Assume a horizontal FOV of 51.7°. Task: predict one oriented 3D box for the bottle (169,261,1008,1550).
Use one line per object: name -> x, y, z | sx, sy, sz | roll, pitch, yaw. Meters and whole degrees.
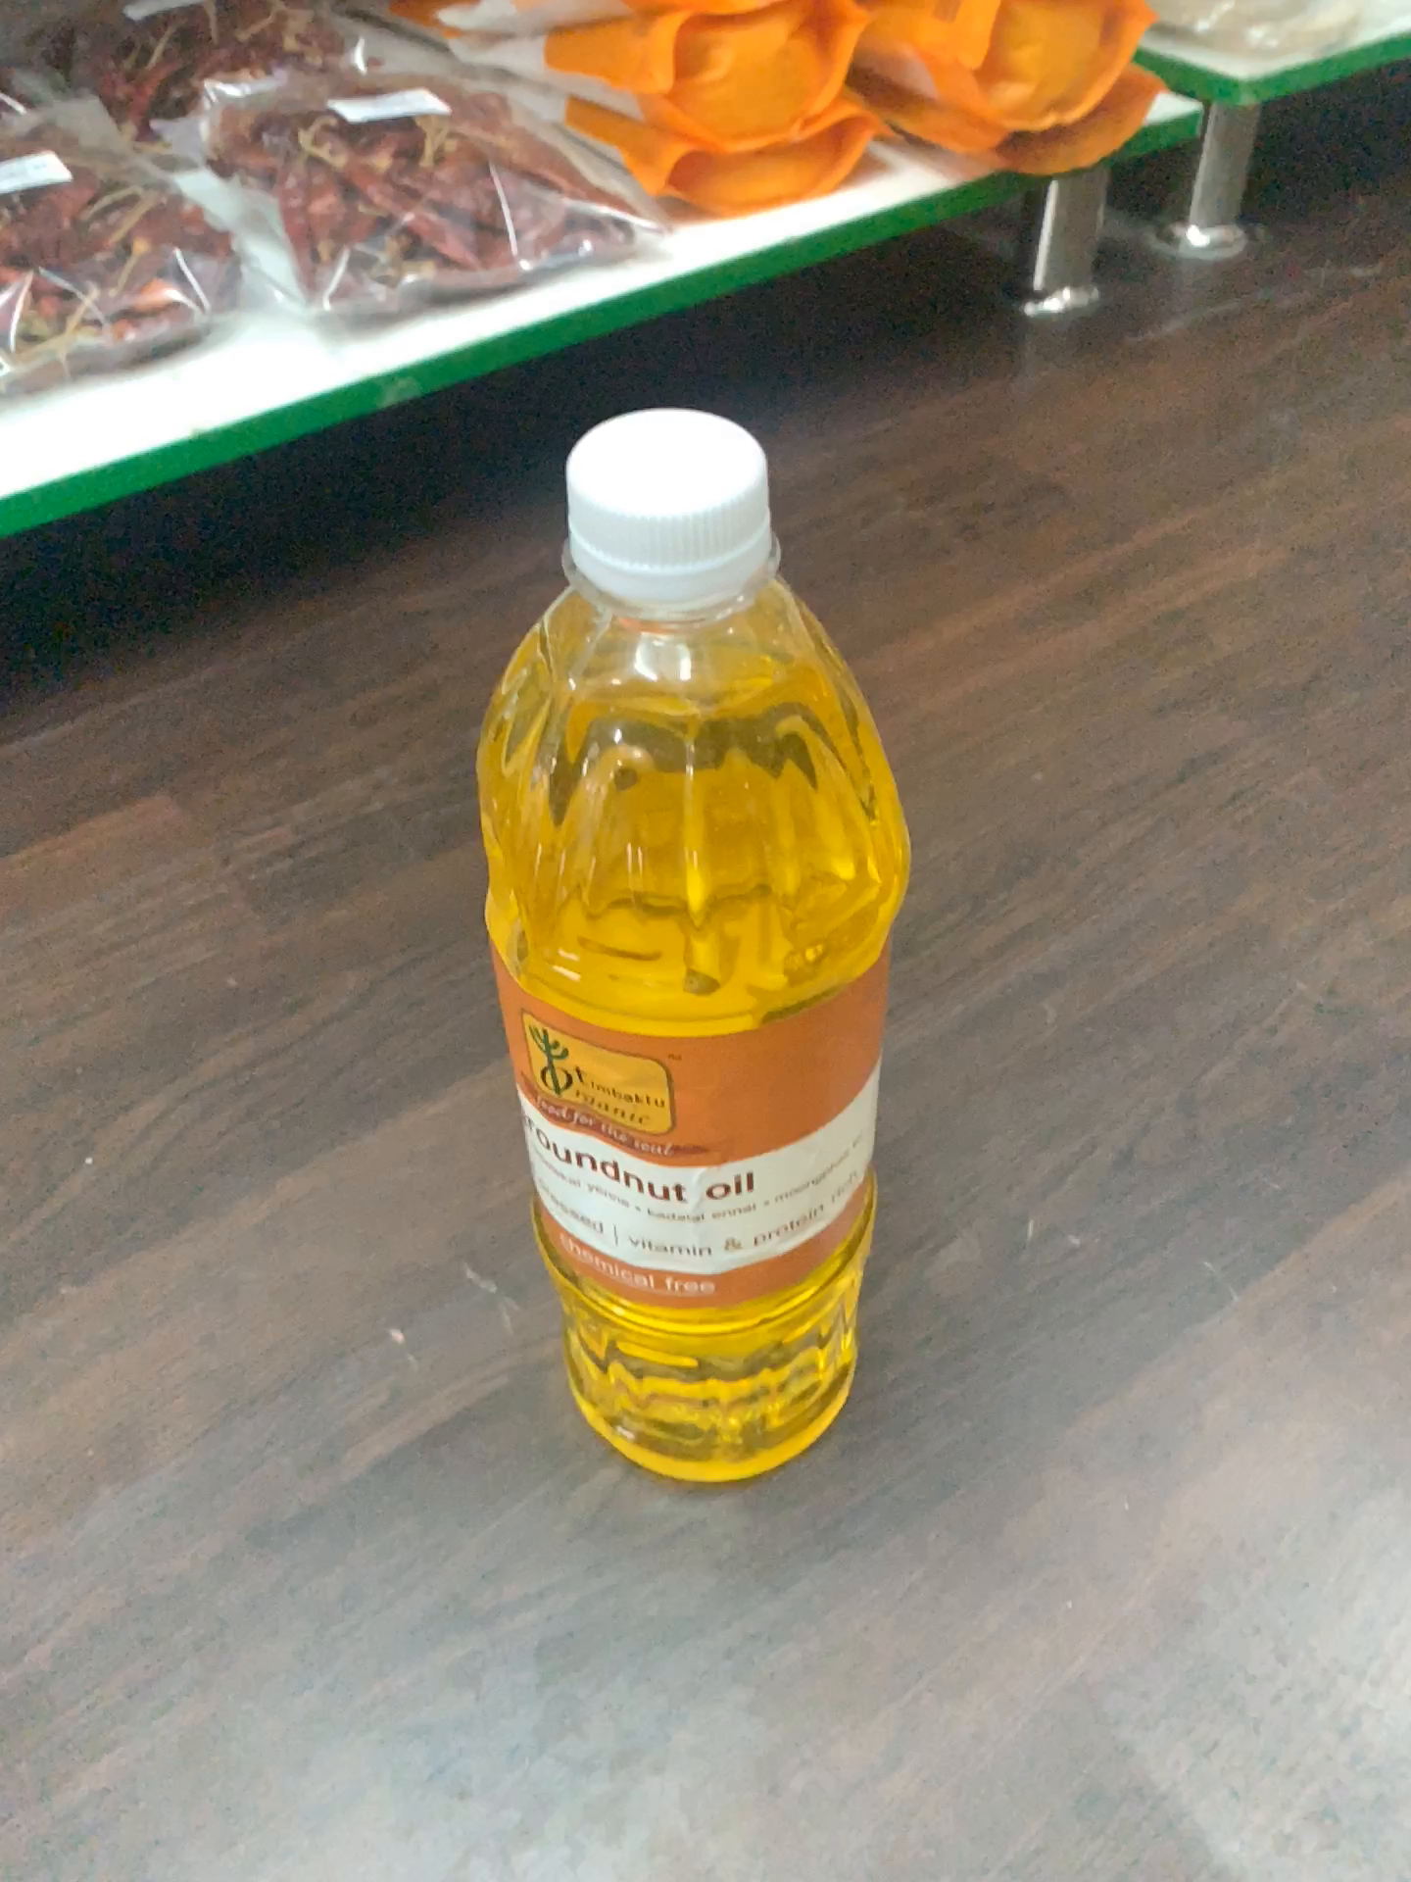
bottle -> -0.011, 0.018, 0.292 | 0.090, 0.259, 0.070 | 25, 52, 23
